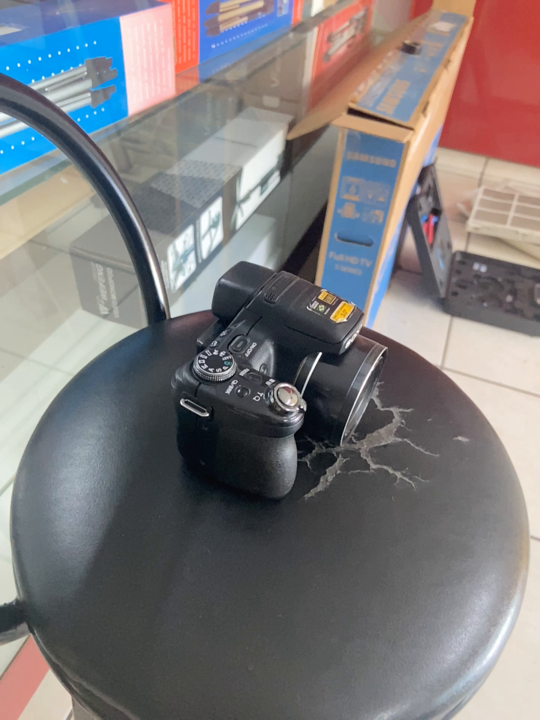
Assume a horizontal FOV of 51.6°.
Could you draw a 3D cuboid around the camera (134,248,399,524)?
[{"bbox_3d":[0.000,0.009,0.313,0.100,0.080,0.101,23,45,19],"label":"camera"}]
